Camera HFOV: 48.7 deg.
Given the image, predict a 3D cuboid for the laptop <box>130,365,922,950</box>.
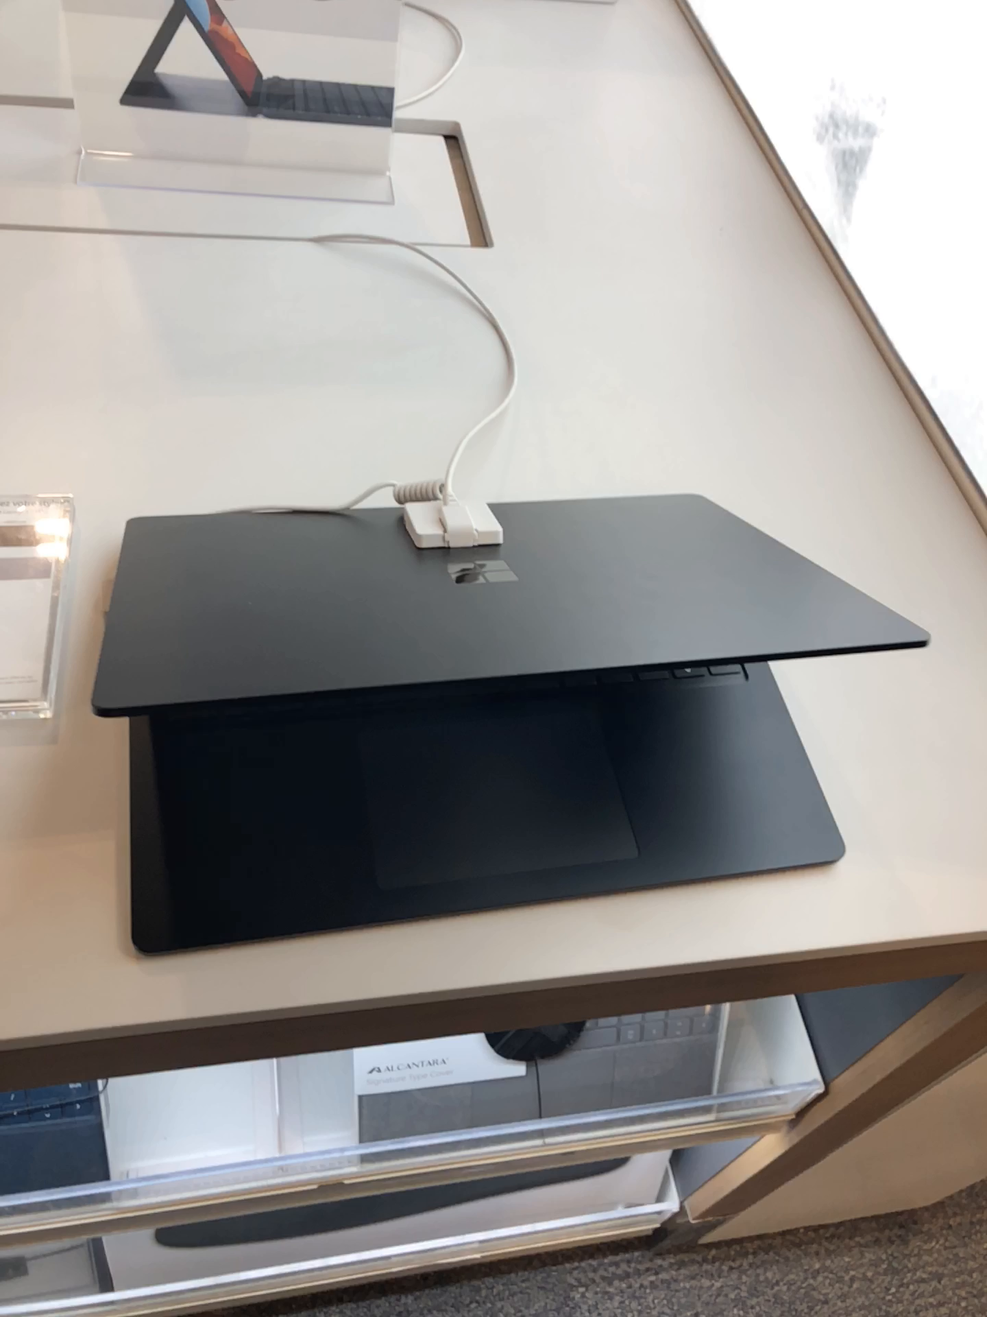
[{"bbox_3d":[0.004,-0.013,0.451,0.284,0.086,0.191,-4,61,-15],"label":"laptop"}]
